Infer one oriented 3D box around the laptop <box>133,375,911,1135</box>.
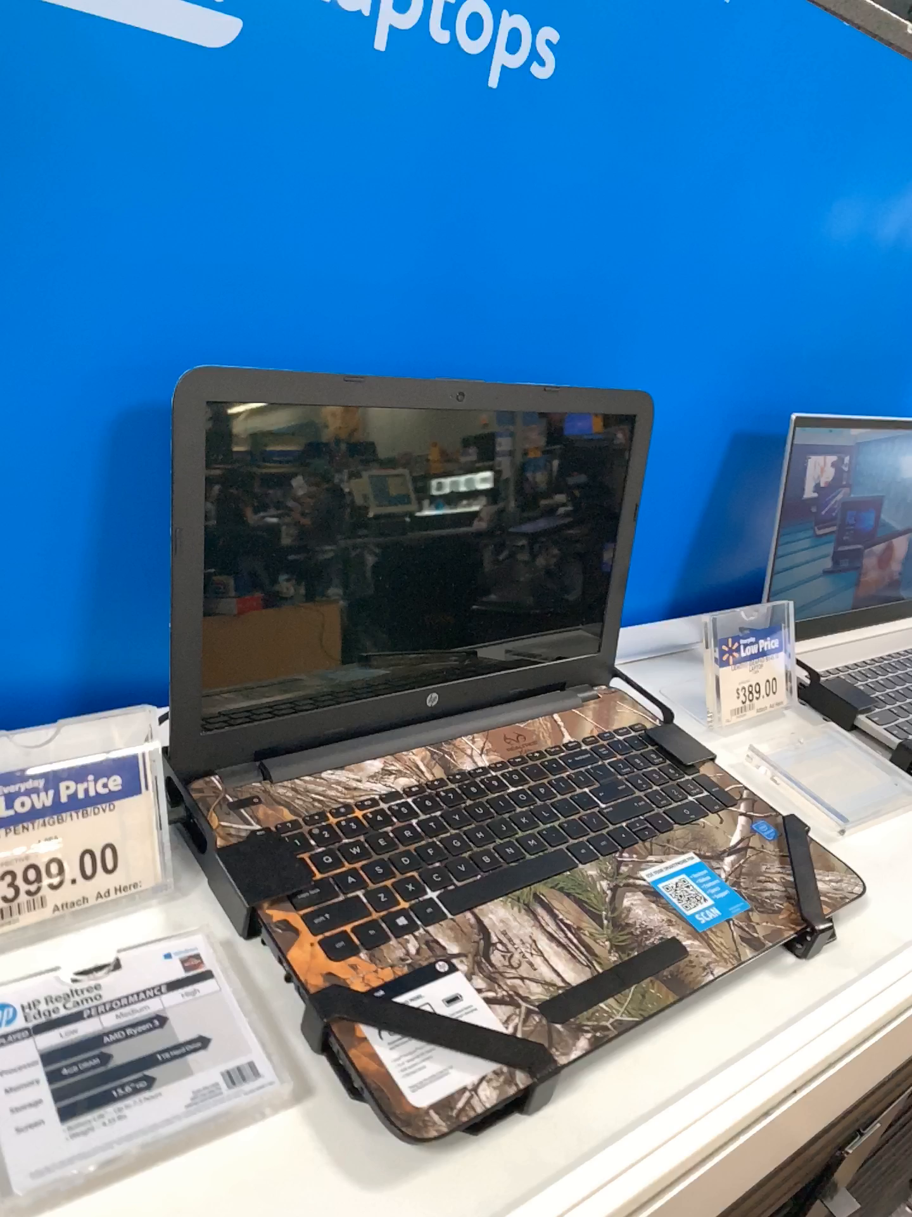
[{"bbox_3d":[0.062,0.030,0.552,0.374,0.227,0.304,-8,33,-38],"label":"laptop"}]
